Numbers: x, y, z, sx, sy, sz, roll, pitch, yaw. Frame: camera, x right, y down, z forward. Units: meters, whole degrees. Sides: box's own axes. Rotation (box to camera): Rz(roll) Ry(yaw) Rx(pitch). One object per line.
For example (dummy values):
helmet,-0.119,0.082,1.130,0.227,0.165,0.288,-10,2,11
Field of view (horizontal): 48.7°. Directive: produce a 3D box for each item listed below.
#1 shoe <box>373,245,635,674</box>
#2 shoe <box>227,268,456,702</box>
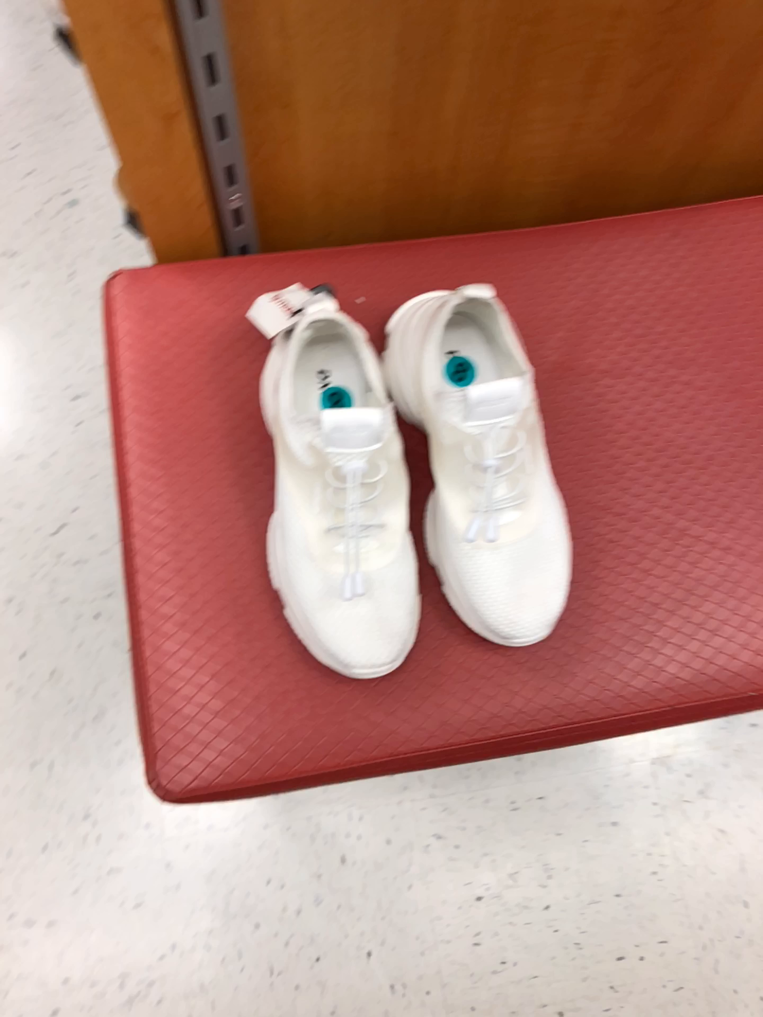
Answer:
shoe,0.076,-0.033,0.613,0.109,0.110,0.277,-10,74,-6
shoe,-0.033,-0.015,0.602,0.112,0.110,0.277,-8,74,-5
